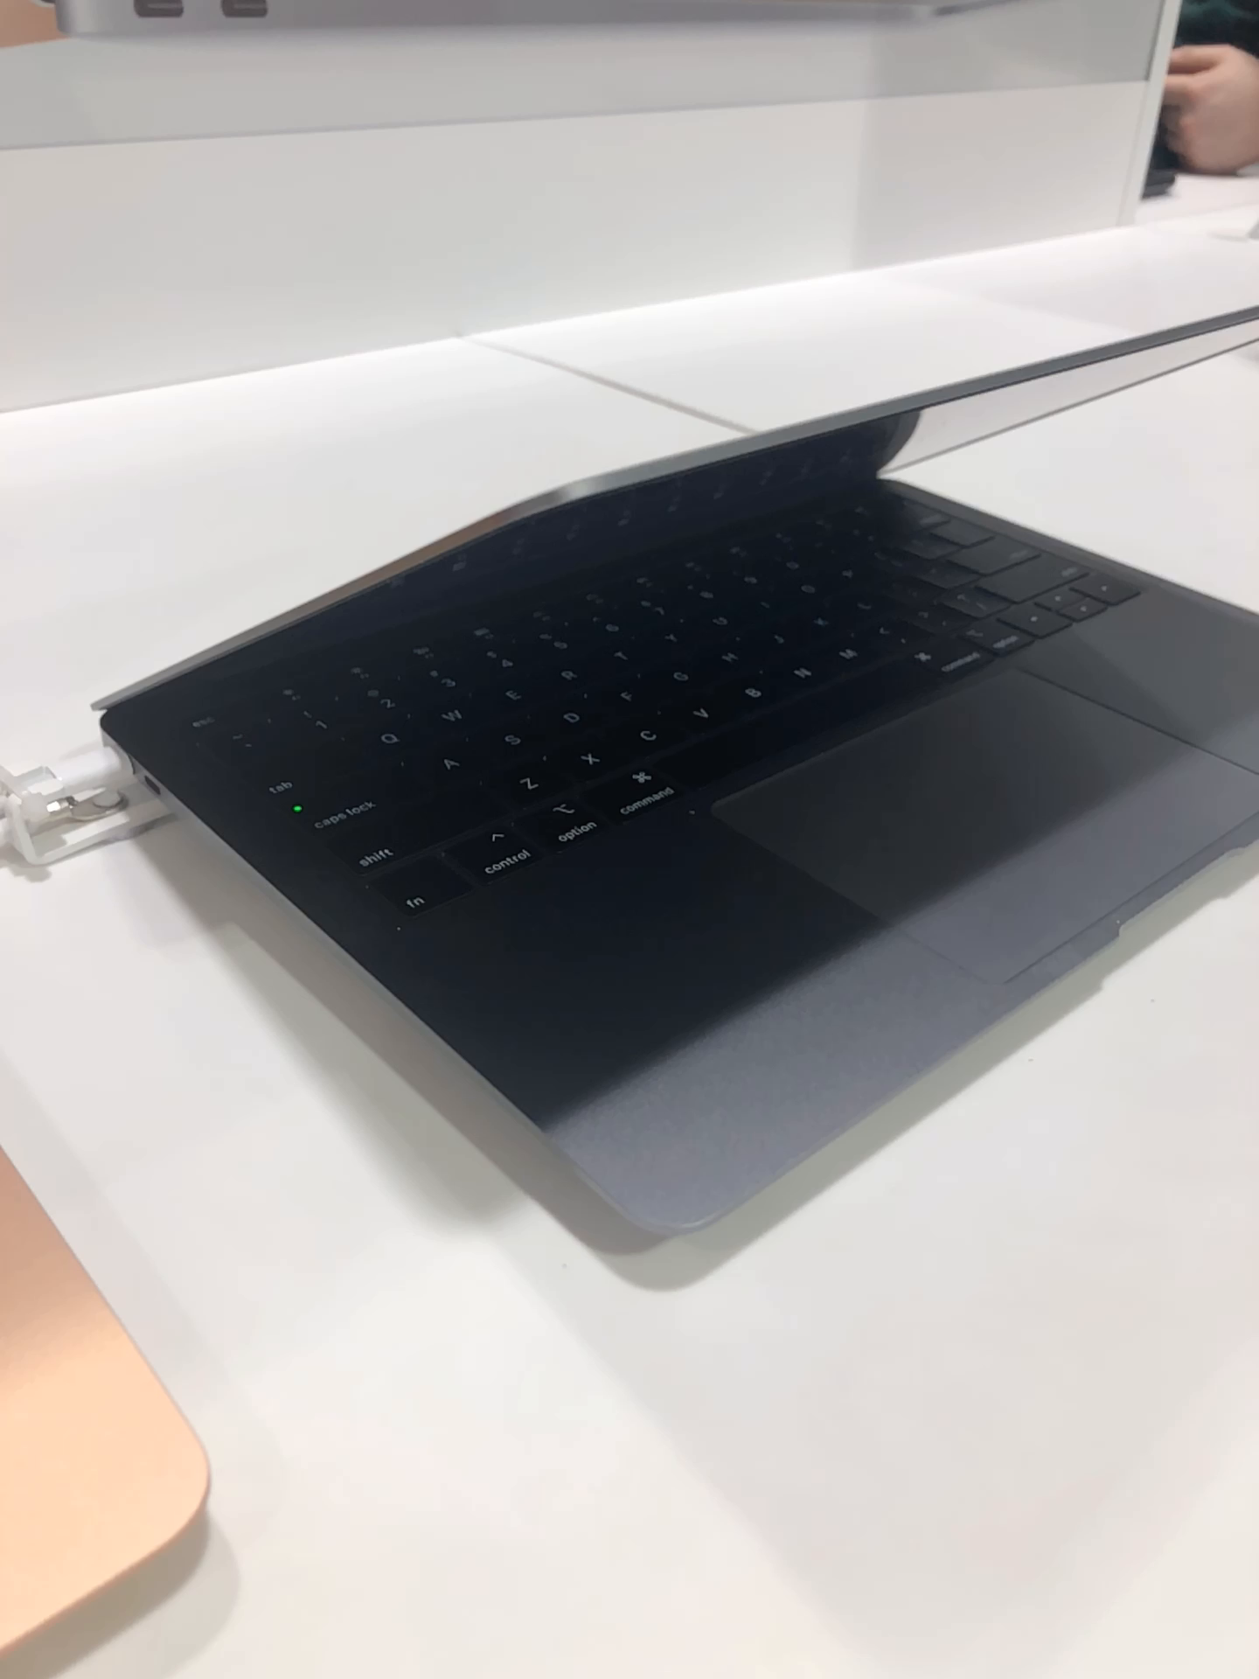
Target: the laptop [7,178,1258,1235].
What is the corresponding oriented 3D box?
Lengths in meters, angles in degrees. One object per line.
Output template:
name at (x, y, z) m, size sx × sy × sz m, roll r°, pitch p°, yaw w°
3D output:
laptop at (0.048, -0.076, 0.330) m, size 0.289 × 0.102 × 0.199 m, roll -24°, pitch 42°, yaw -36°
